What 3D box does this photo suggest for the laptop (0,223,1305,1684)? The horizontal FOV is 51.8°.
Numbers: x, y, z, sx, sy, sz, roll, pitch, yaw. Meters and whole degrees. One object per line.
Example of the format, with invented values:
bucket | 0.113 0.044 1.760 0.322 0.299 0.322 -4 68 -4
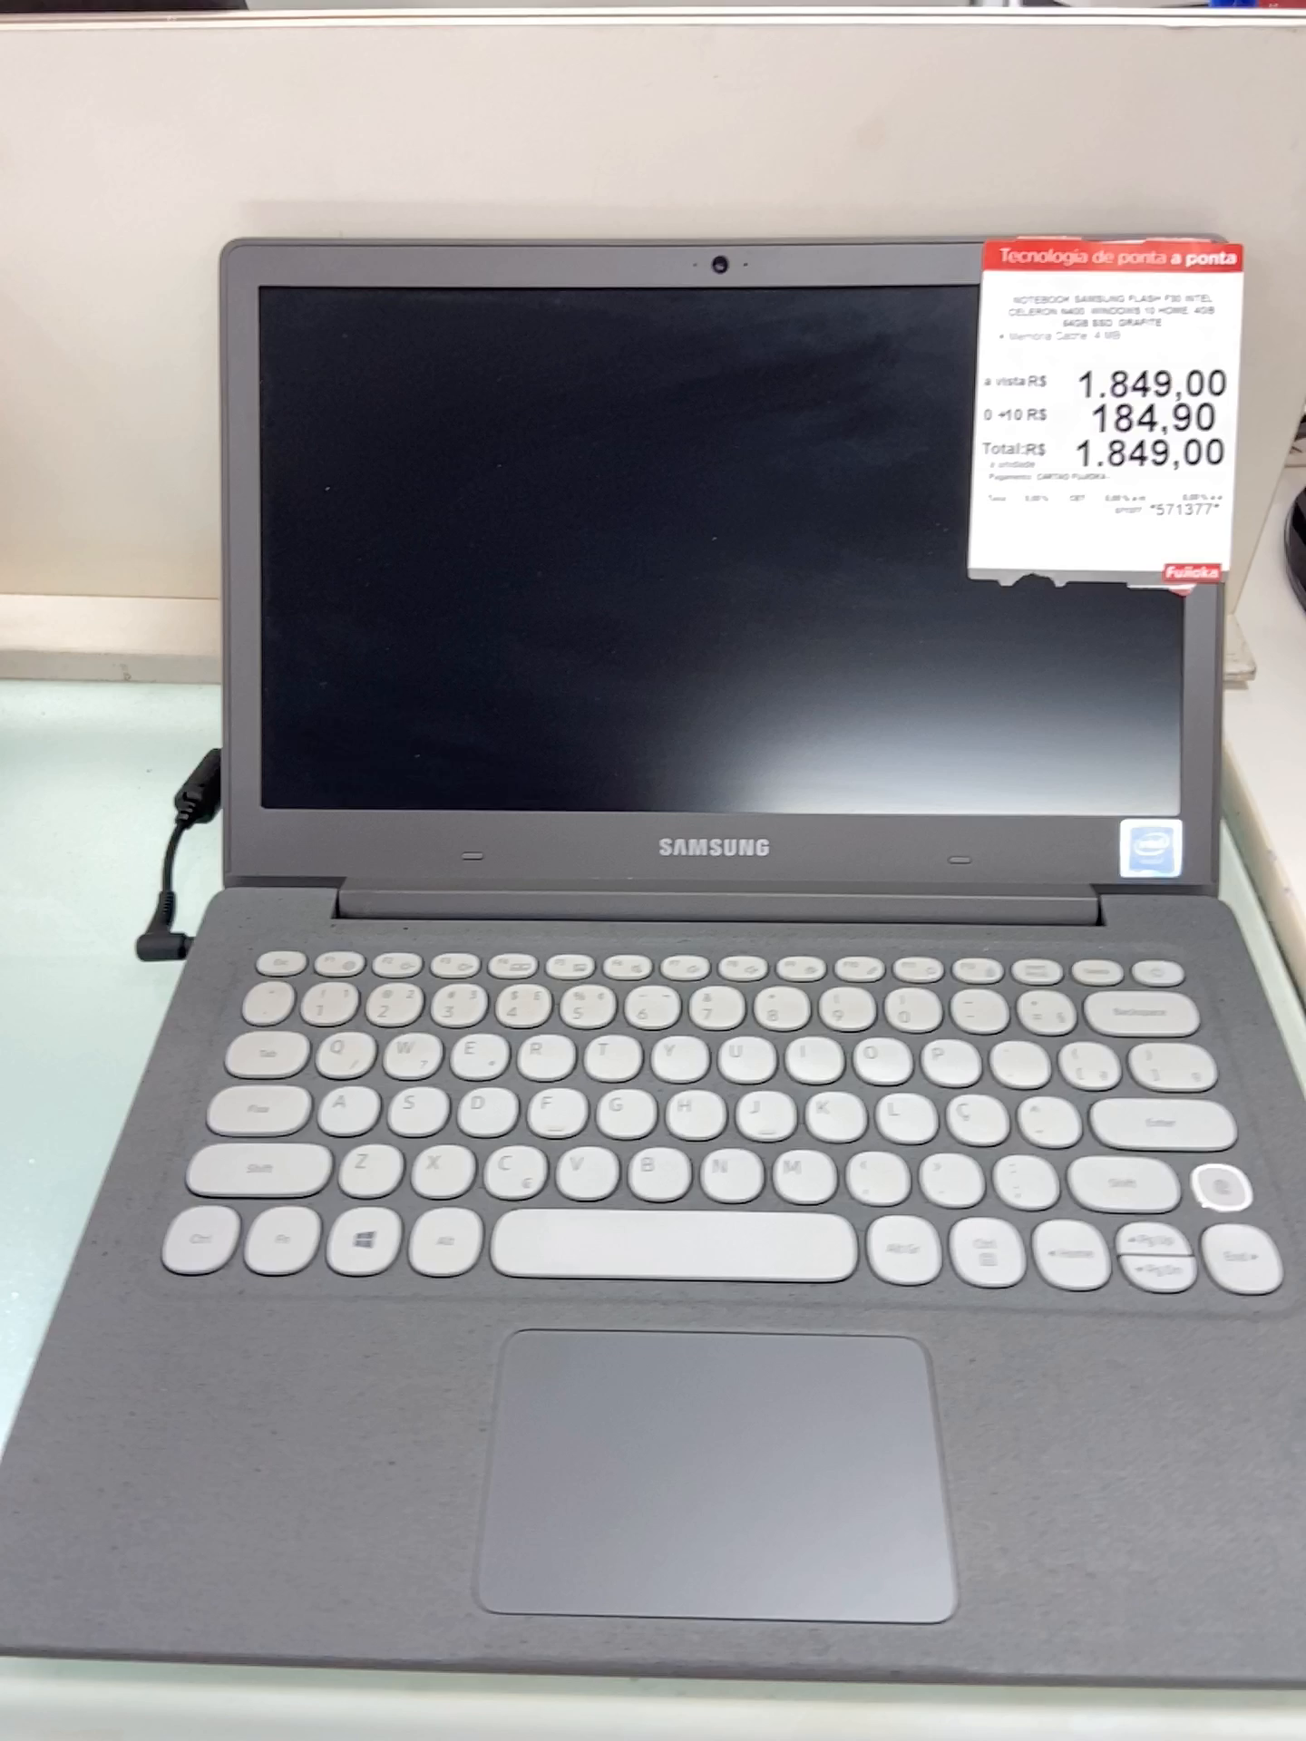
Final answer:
laptop | 0.016 -0.022 0.353 0.319 0.144 0.366 1 46 2
